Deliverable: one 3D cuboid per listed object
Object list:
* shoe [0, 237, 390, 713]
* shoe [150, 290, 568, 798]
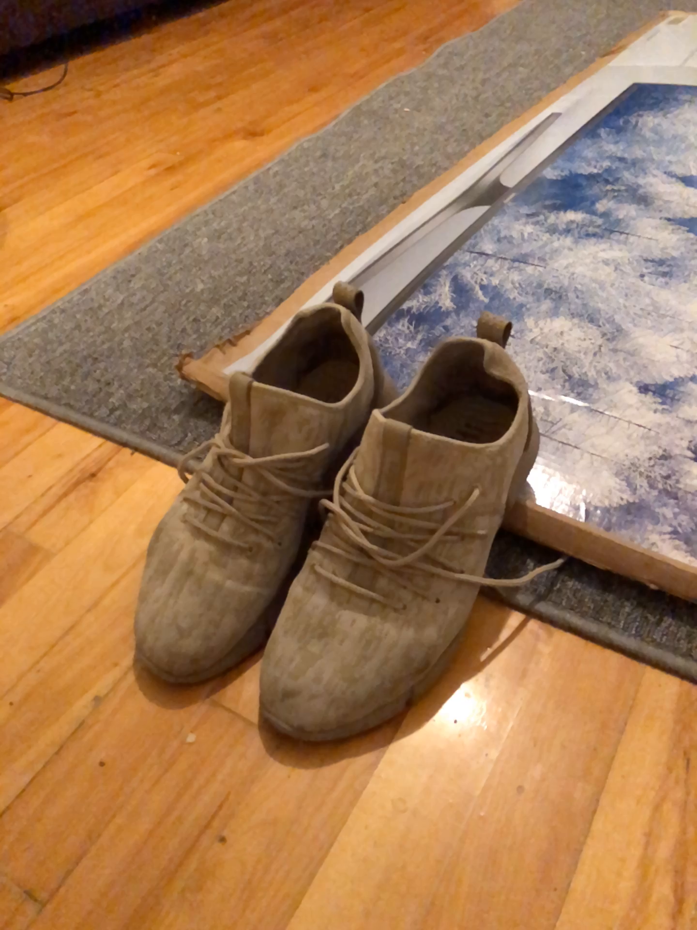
[{"bbox_3d":[-0.090,0.005,0.481,0.110,0.119,0.251,20,73,24],"label":"shoe"},{"bbox_3d":[0.020,0.047,0.452,0.110,0.119,0.251,23,78,27],"label":"shoe"}]
